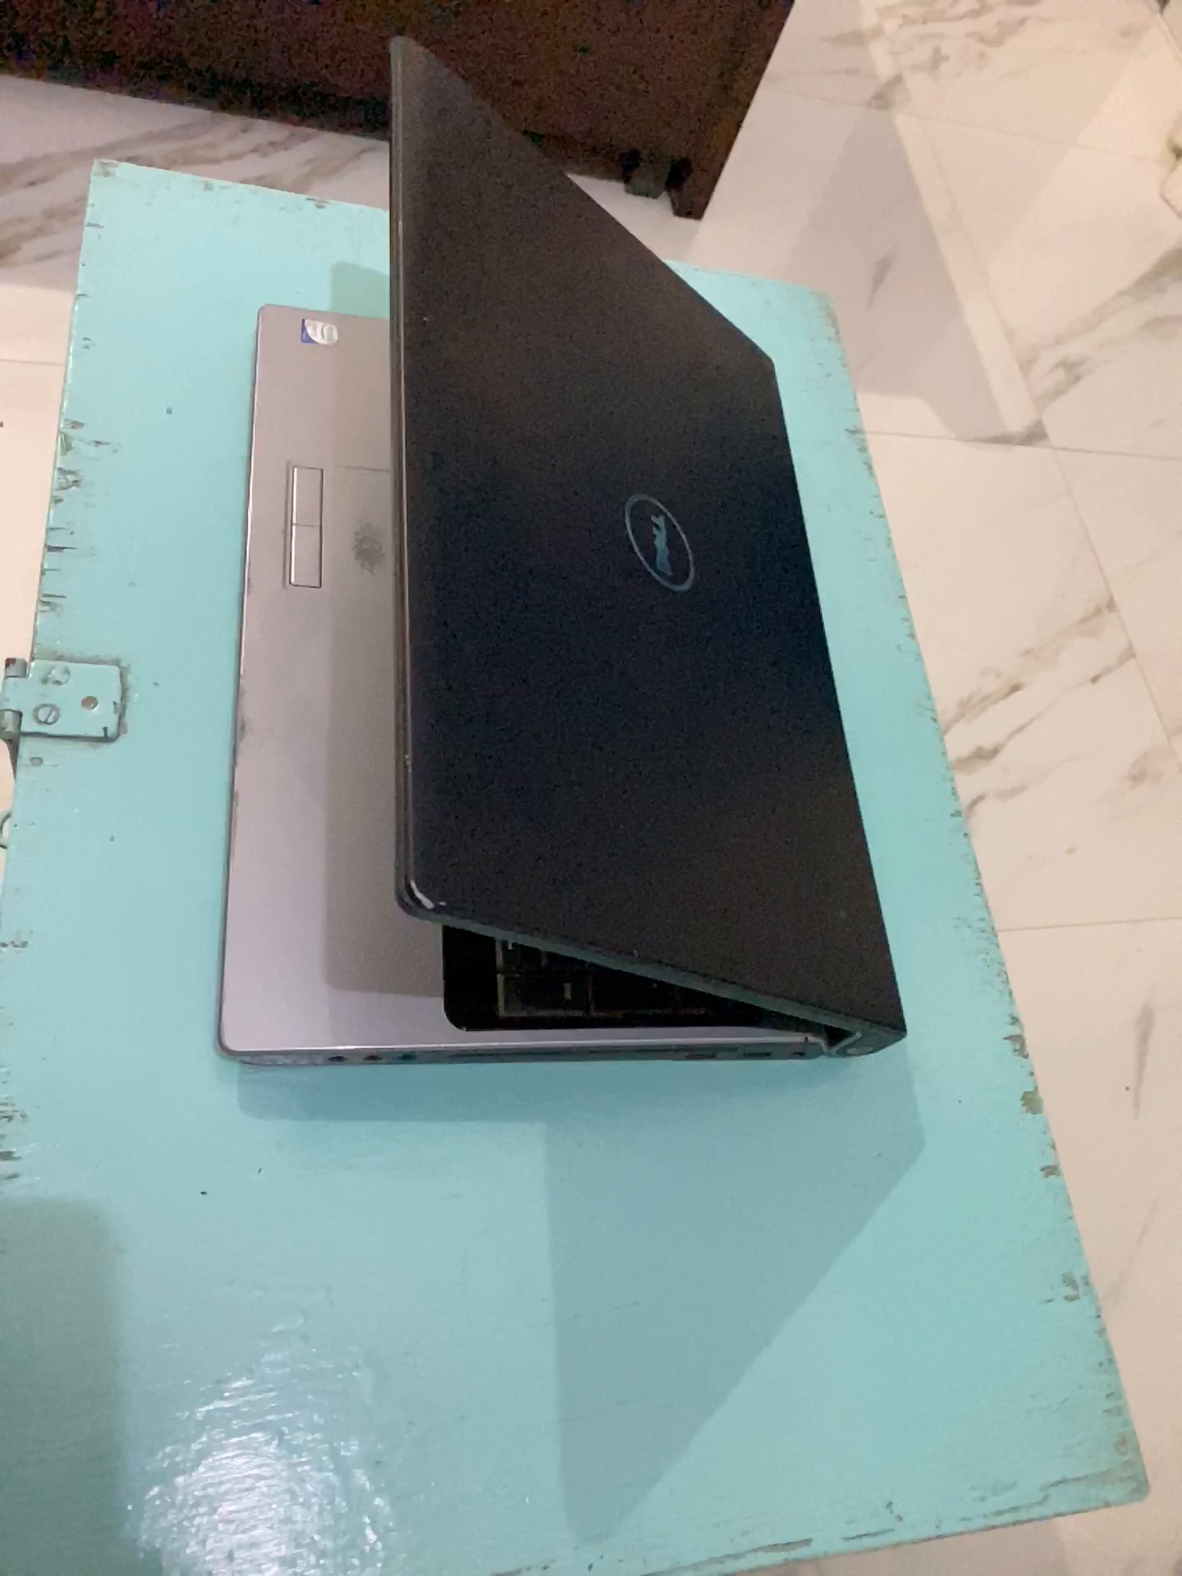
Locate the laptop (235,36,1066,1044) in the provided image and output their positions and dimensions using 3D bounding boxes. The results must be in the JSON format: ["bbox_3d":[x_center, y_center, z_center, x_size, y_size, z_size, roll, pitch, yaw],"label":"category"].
[{"bbox_3d":[-0.007,-0.103,0.517,0.261,0.152,0.388,2,62,-16],"label":"laptop"}]
